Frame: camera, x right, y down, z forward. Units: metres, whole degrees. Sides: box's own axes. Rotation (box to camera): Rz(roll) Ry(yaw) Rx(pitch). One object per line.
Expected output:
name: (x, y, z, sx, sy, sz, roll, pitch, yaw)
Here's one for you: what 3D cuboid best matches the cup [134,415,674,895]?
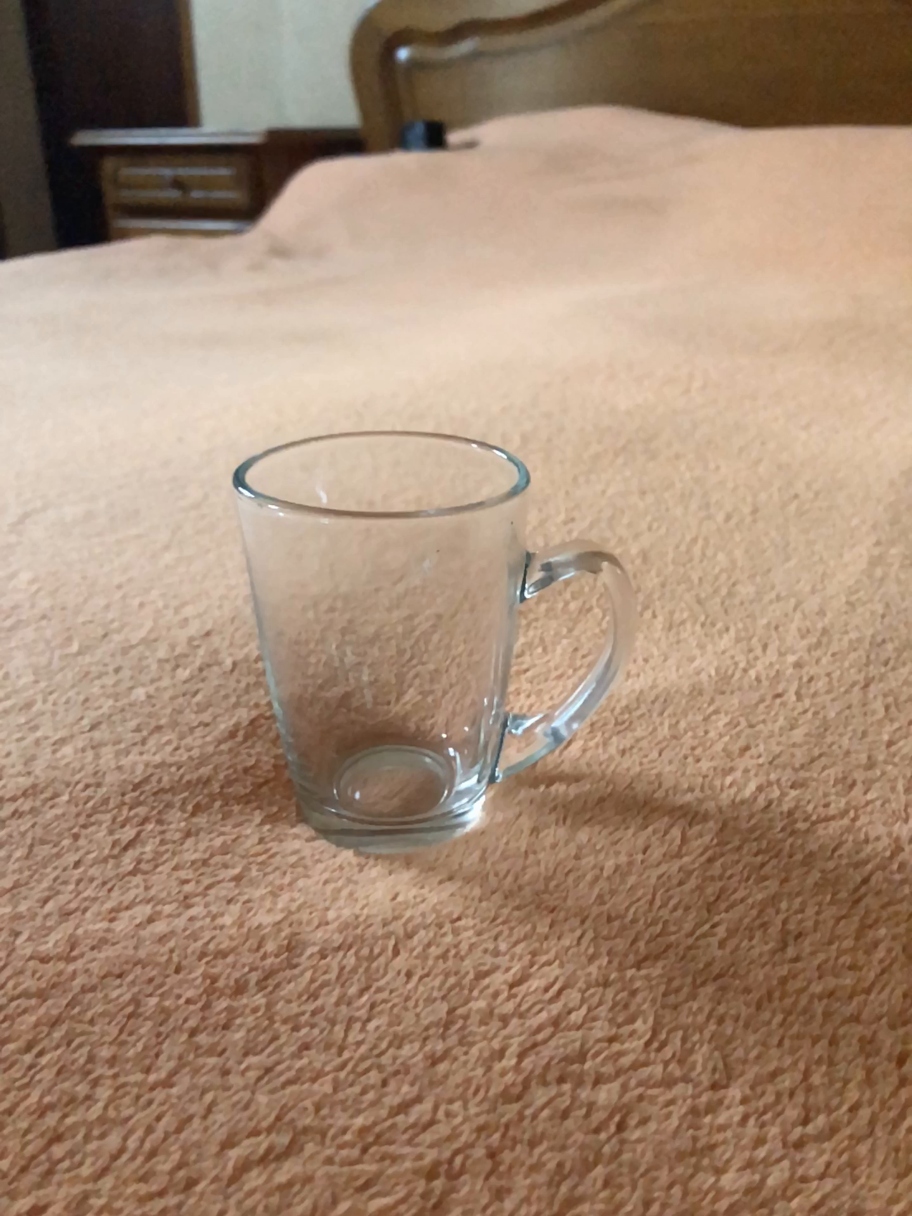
cup: (-0.010, 0.008, 0.238, 0.100, 0.090, 0.070, 0, 24, 0)
